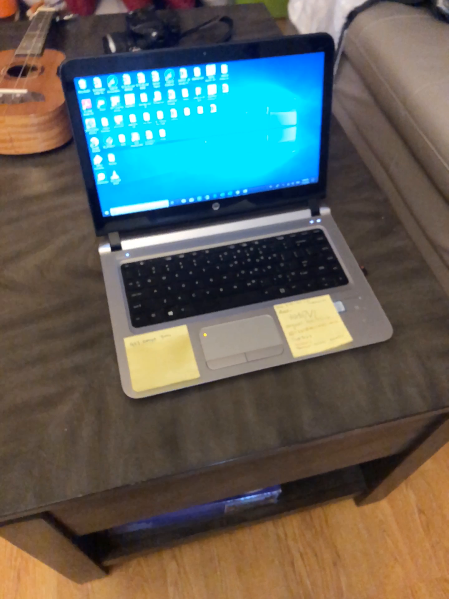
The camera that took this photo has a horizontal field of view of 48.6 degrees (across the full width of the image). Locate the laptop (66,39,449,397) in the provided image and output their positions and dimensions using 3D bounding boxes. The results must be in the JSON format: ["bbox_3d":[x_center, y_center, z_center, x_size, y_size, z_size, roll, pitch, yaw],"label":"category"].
[{"bbox_3d":[0.013,-0.107,0.579,0.315,0.203,0.314,-12,56,-11],"label":"laptop"}]
